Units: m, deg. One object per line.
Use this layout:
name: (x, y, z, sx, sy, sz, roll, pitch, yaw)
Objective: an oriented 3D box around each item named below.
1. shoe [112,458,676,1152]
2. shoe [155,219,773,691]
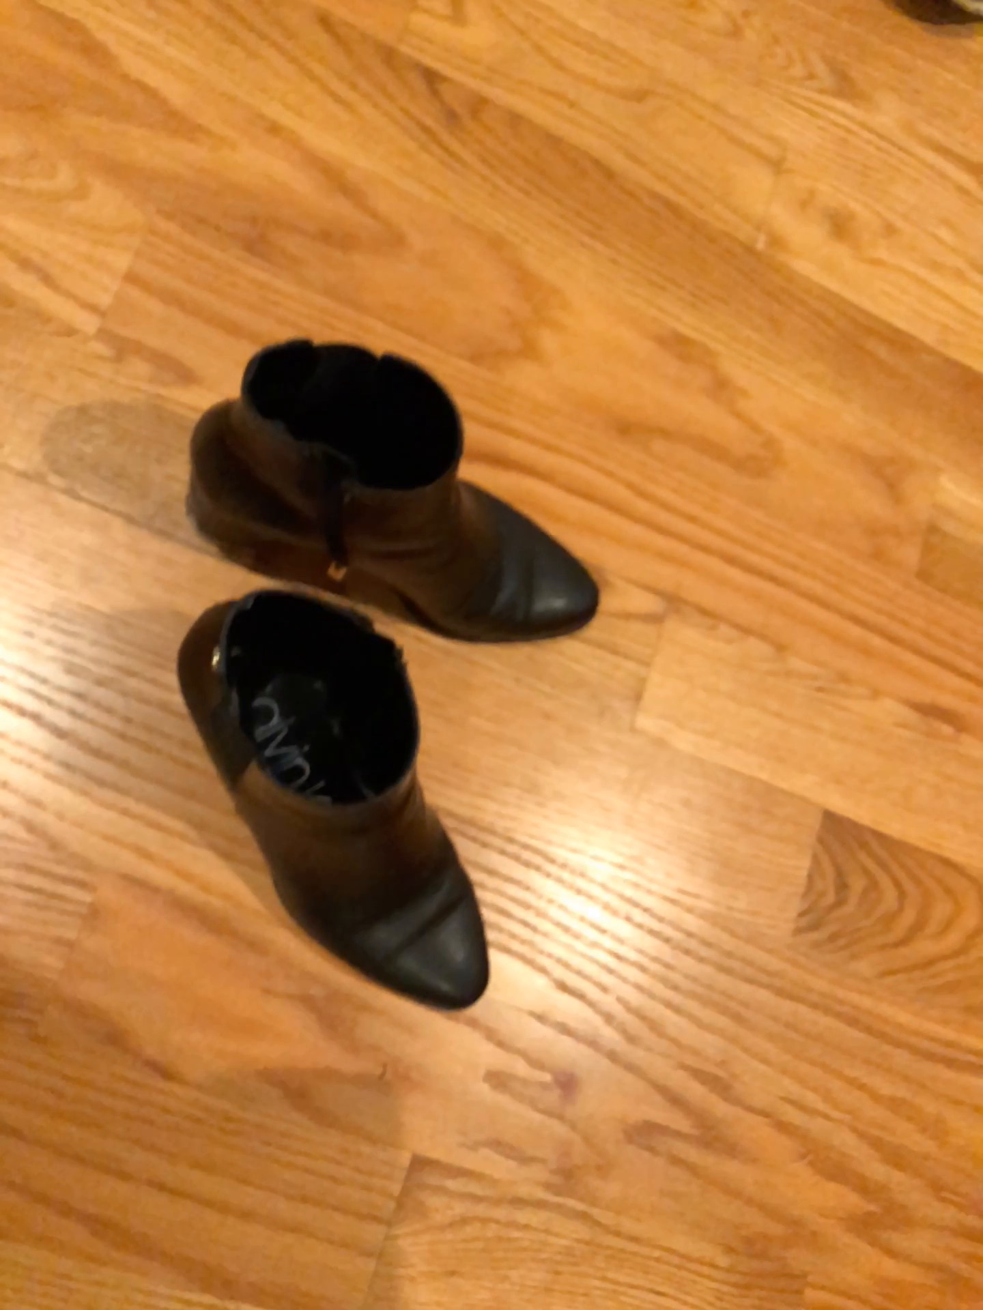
shoe: (-0.057, 0.064, 0.479, 0.095, 0.176, 0.236, -33, 91, -20)
shoe: (-0.025, -0.073, 0.515, 0.236, 0.176, 0.095, 17, 76, -14)
